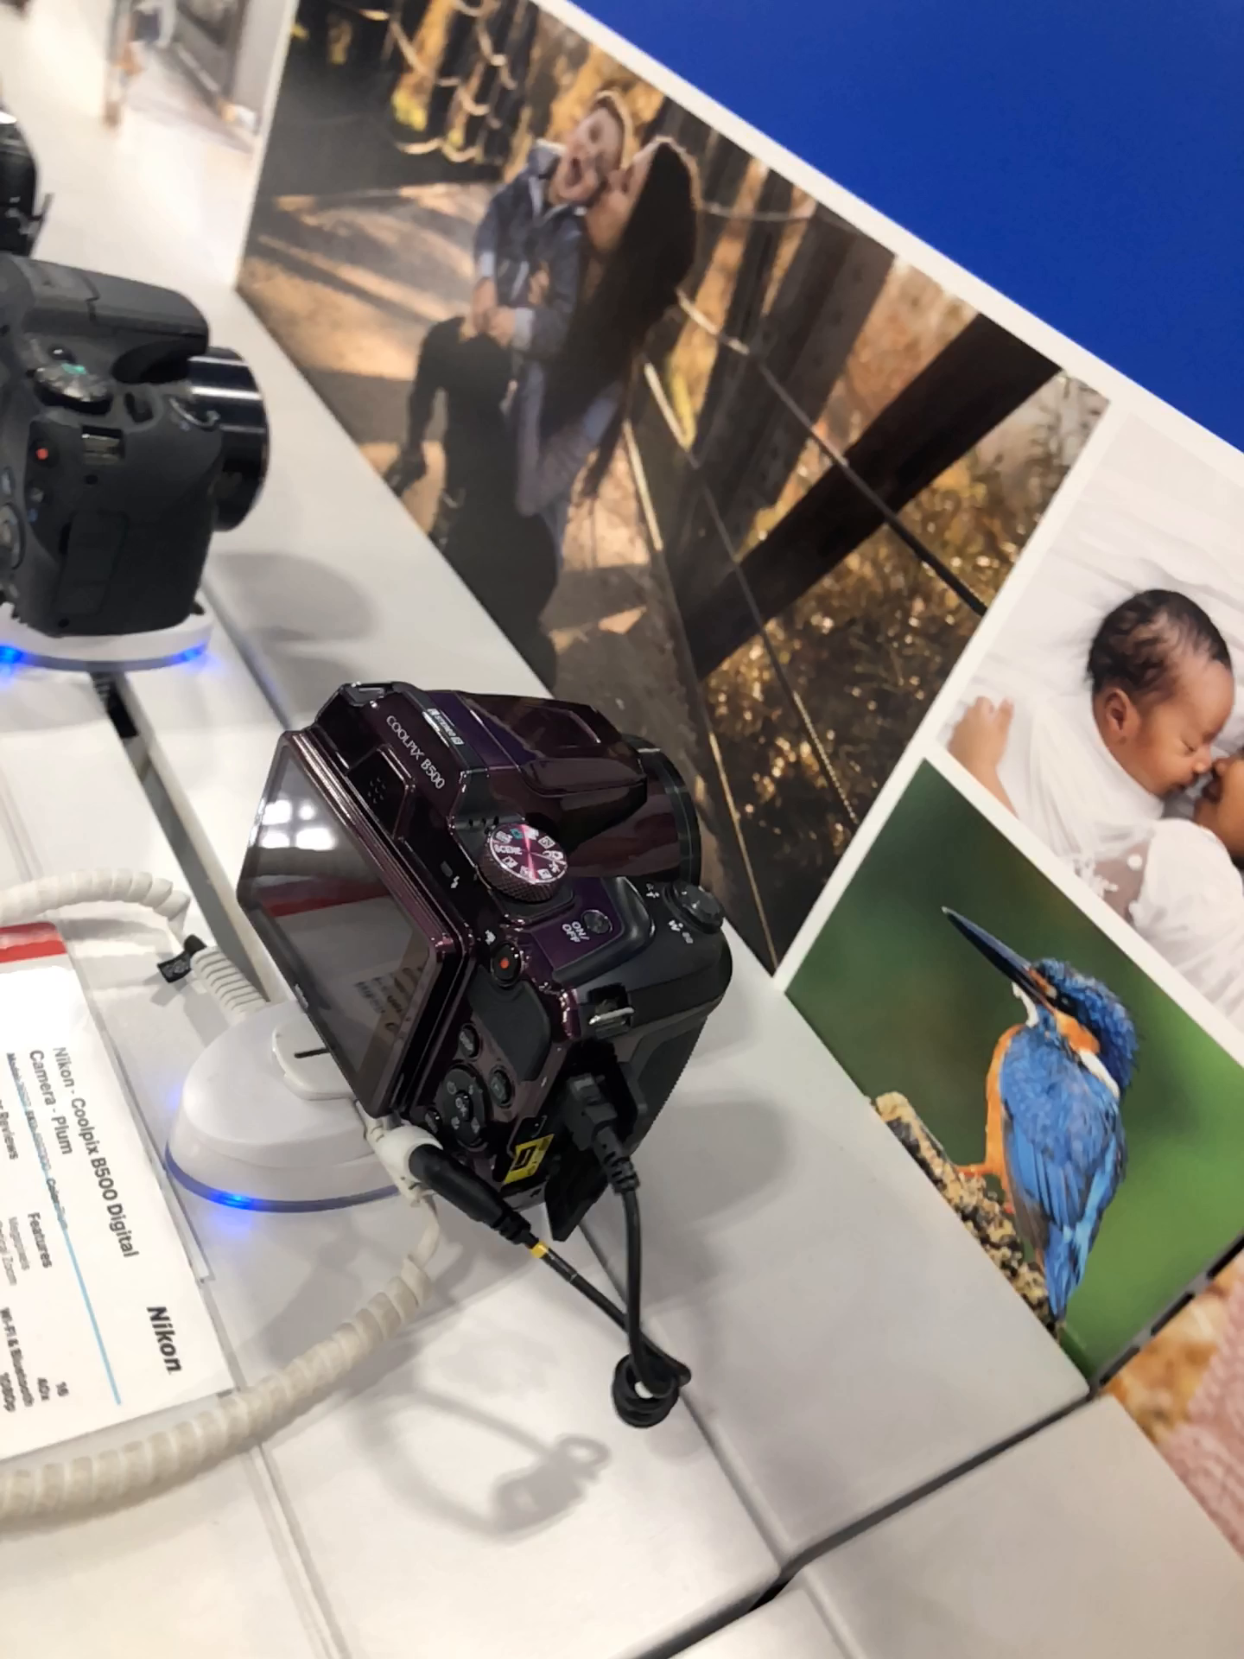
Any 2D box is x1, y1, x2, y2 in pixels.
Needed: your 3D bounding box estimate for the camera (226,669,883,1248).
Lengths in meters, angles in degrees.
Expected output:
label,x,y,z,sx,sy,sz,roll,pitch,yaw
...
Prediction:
label,x,y,z,sx,sy,sz,roll,pitch,yaw
camera,-0.020,0.021,0.341,0.100,0.060,0.120,-8,45,-41
